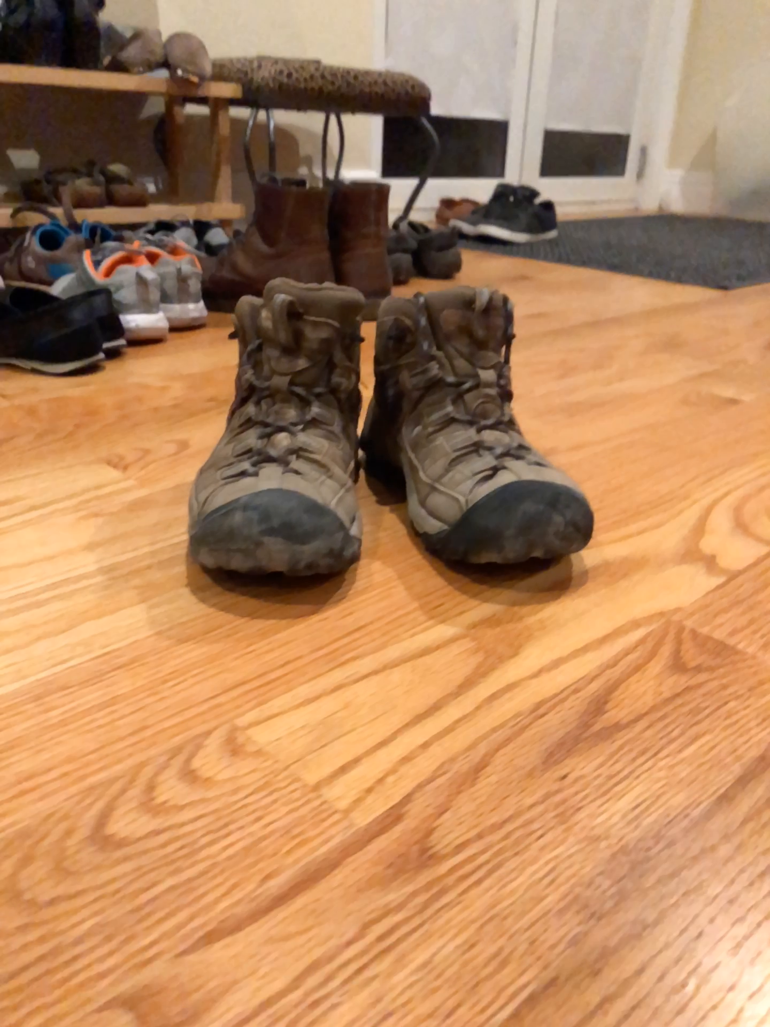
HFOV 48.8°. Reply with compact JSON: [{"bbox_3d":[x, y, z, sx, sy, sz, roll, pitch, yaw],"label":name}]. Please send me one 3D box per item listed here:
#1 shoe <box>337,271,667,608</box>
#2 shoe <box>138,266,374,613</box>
[{"bbox_3d":[0.052,-0.069,0.555,0.107,0.139,0.260,-4,24,-16],"label":"shoe"},{"bbox_3d":[-0.065,-0.065,0.534,0.107,0.139,0.261,2,23,-2],"label":"shoe"}]
